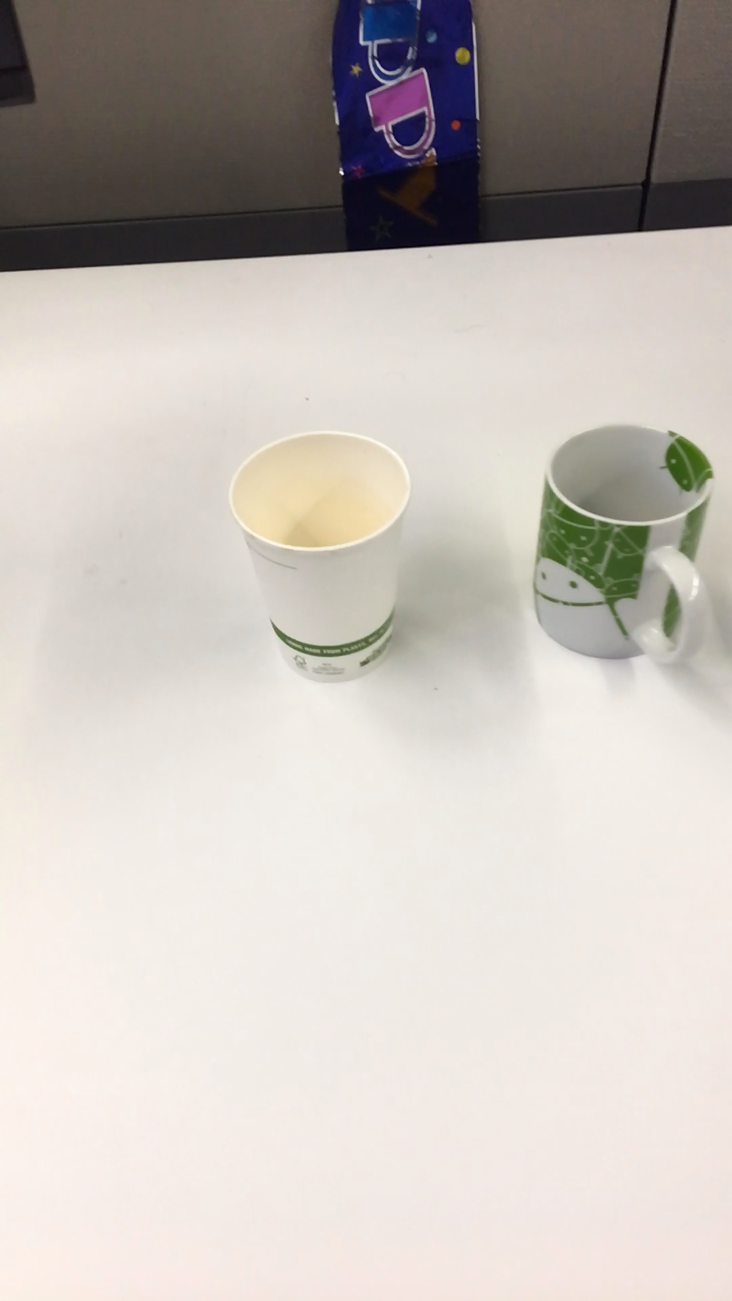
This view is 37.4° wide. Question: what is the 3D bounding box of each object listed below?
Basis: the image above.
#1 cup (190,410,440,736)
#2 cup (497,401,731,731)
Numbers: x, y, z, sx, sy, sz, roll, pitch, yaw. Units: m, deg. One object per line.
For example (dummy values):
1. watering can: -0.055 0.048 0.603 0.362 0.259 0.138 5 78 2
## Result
1. cup: -0.024 -0.038 0.538 0.090 0.110 0.090 -1 48 1
2. cup: 0.136 -0.045 0.545 0.090 0.090 0.120 -18 50 -13
